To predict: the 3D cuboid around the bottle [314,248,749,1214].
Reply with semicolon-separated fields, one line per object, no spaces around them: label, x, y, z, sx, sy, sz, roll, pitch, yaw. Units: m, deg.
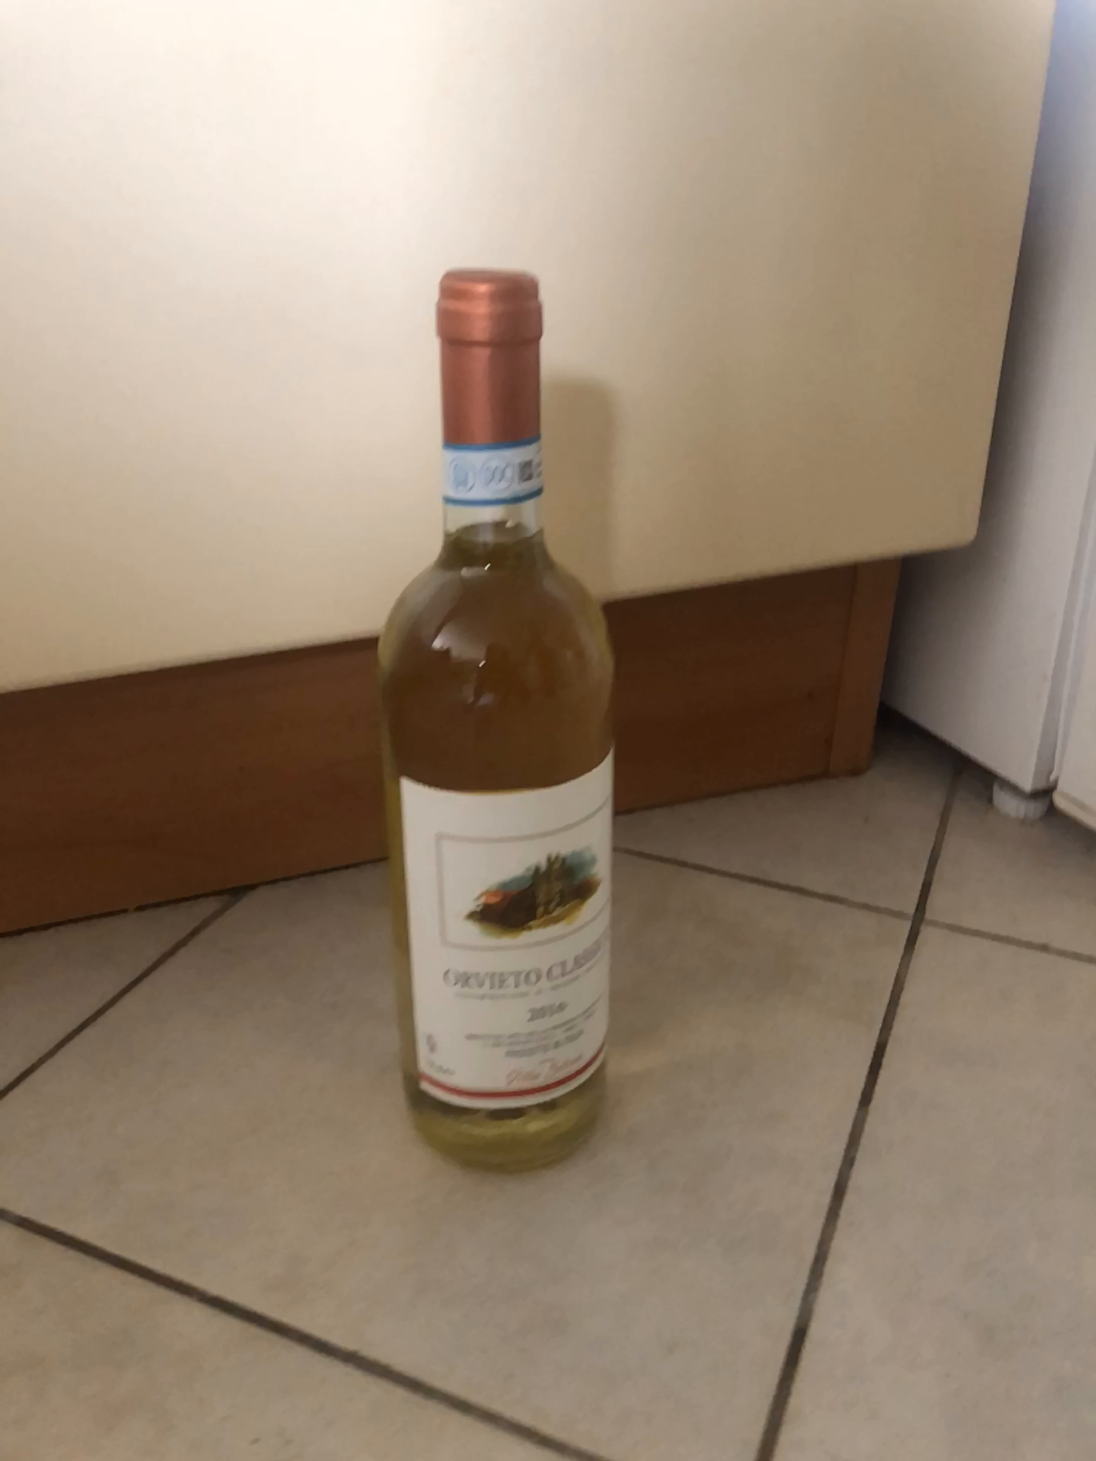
bottle;-0.010;0.003;0.390;0.090;0.288;0.090;1;25;0
